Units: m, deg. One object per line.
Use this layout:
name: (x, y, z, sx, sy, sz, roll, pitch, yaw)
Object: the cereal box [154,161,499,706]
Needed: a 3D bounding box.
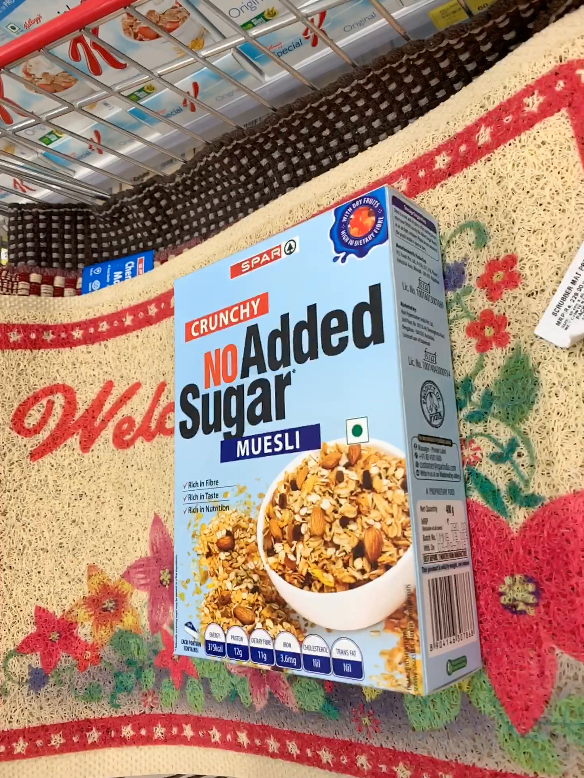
cereal box: (0.001, 0.027, 0.327, 0.181, 0.050, 0.230, -14, 73, 40)
